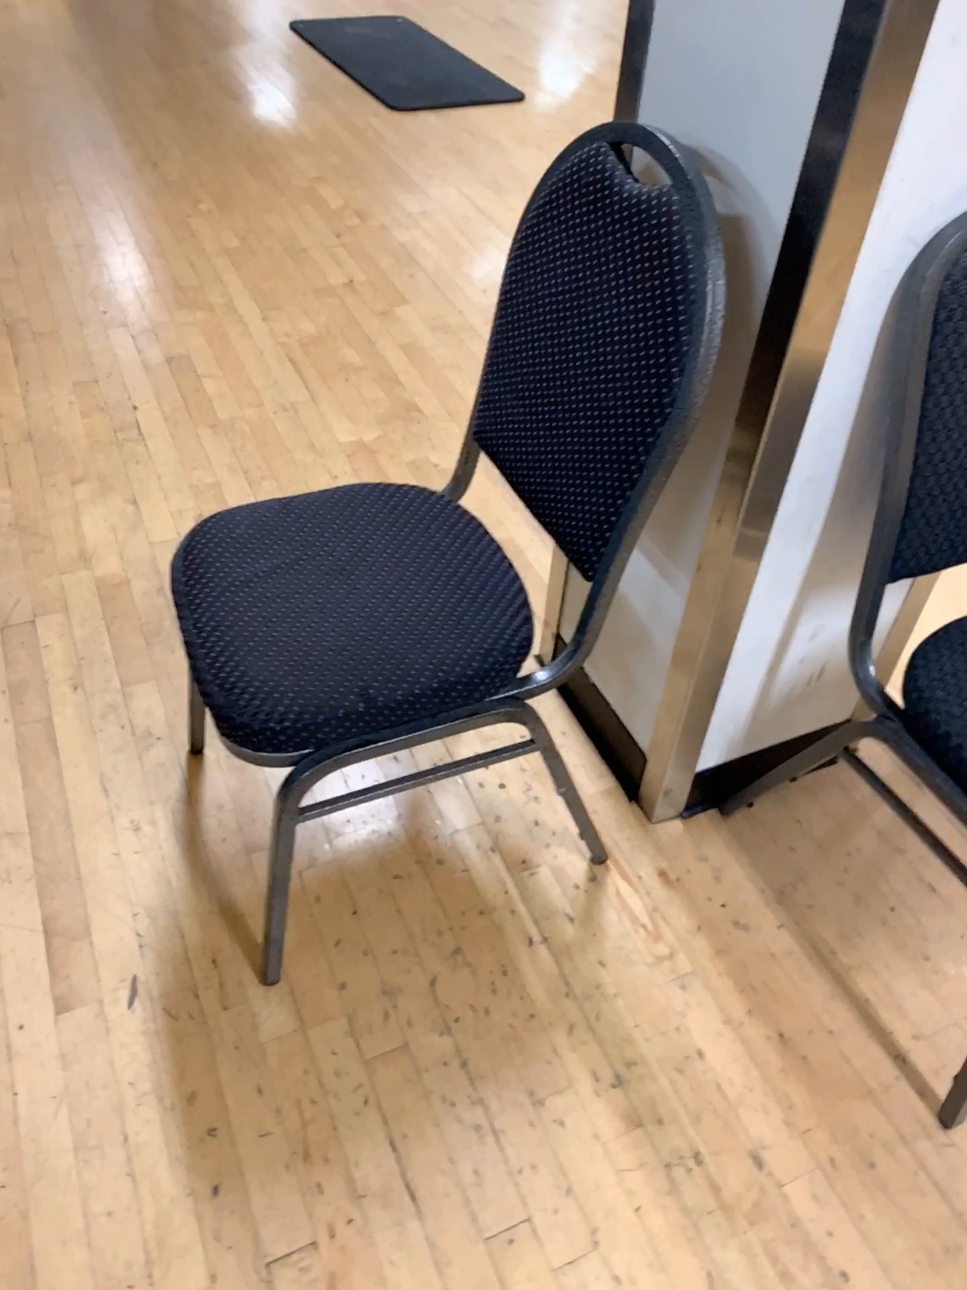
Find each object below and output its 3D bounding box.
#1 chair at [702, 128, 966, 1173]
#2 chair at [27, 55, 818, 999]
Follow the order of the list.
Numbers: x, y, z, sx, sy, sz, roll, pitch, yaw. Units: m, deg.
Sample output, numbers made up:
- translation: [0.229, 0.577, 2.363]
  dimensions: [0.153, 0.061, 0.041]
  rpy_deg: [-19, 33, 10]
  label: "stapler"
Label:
- translation: [0.671, 0.042, 1.069]
  dimensions: [0.462, 0.921, 0.555]
  rpy_deg: [-13, 46, -17]
  label: "chair"
- translation: [-0.102, -0.101, 1.170]
  dimensions: [0.554, 0.921, 0.463]
  rpy_deg: [-15, 47, -19]
  label: "chair"
